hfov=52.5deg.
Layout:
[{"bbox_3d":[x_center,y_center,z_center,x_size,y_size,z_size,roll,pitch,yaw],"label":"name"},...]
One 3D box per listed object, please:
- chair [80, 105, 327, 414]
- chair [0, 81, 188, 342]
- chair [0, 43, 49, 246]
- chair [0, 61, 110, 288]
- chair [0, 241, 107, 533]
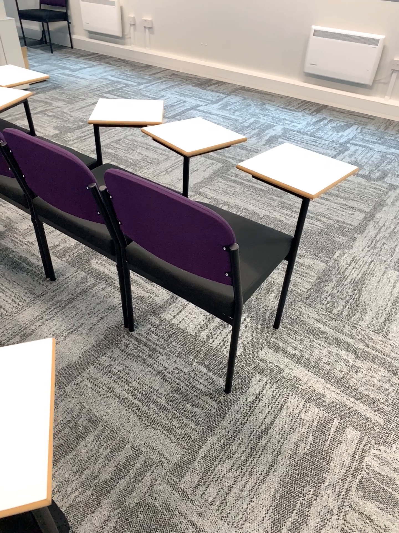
[{"bbox_3d":[0.014,-0.035,1.413,0.517,0.801,0.504,25,44,26],"label":"chair"},{"bbox_3d":[-0.403,-0.231,1.640,0.517,0.791,0.494,25,44,26],"label":"chair"},{"bbox_3d":[-1.240,-0.642,2.109,0.517,0.791,0.504,25,44,26],"label":"chair"},{"bbox_3d":[-0.819,-0.433,1.877,0.517,0.791,0.484,25,44,26],"label":"chair"},{"bbox_3d":[-0.574,0.494,0.718,0.518,0.801,0.503,30,47,30],"label":"chair"}]
